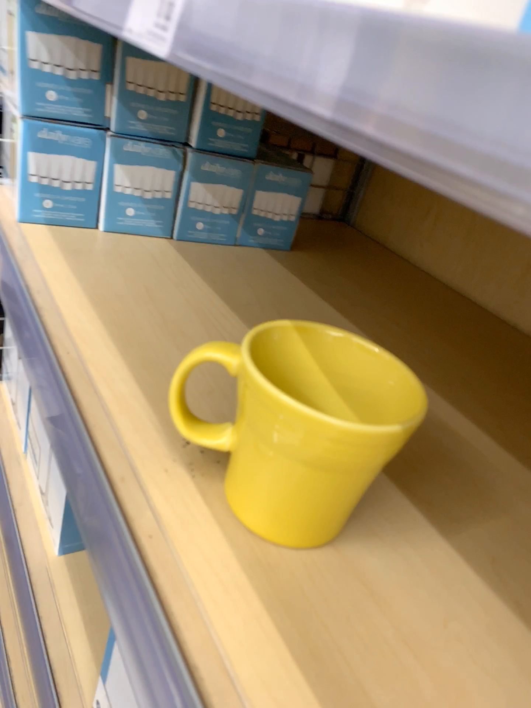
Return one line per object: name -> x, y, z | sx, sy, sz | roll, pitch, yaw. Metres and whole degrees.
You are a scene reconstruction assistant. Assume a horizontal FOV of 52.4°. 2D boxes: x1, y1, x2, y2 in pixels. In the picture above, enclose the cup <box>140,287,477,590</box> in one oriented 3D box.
cup -> 0.020, 0.041, 0.302 | 0.139, 0.088, 0.104 | 17, 28, -2
